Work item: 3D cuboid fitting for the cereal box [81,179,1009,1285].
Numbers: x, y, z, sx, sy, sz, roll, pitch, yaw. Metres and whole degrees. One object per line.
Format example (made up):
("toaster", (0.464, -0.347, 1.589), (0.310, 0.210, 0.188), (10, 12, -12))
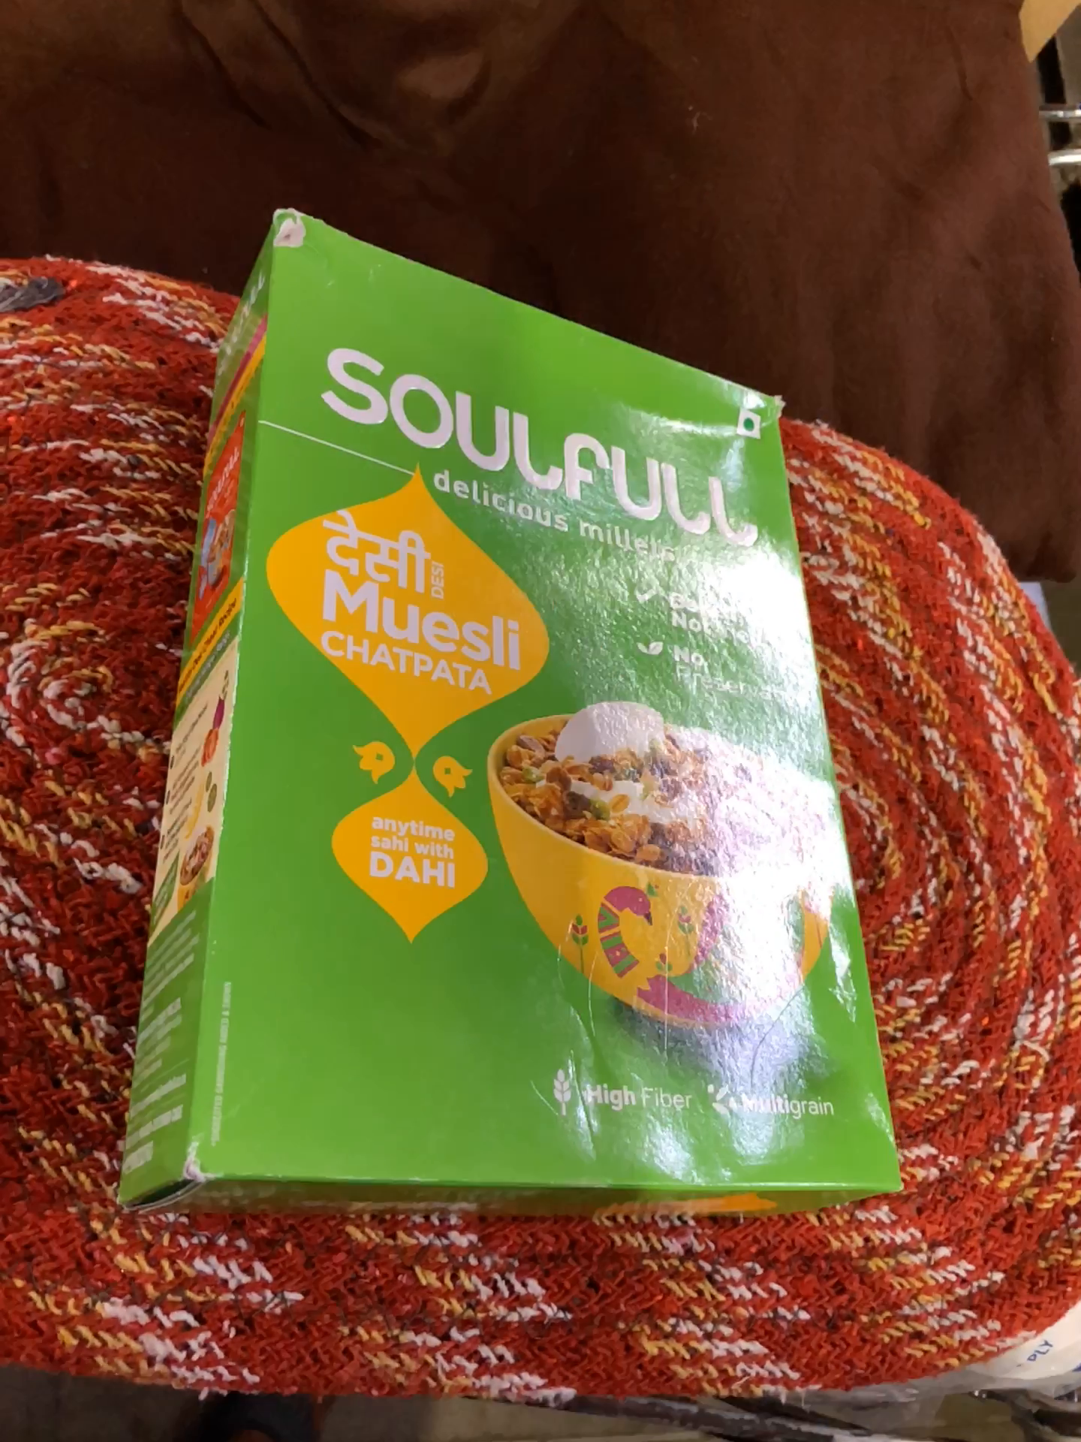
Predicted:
("cereal box", (0.000, 0.001, 0.292), (0.170, 0.060, 0.241), (12, 57, -24))
